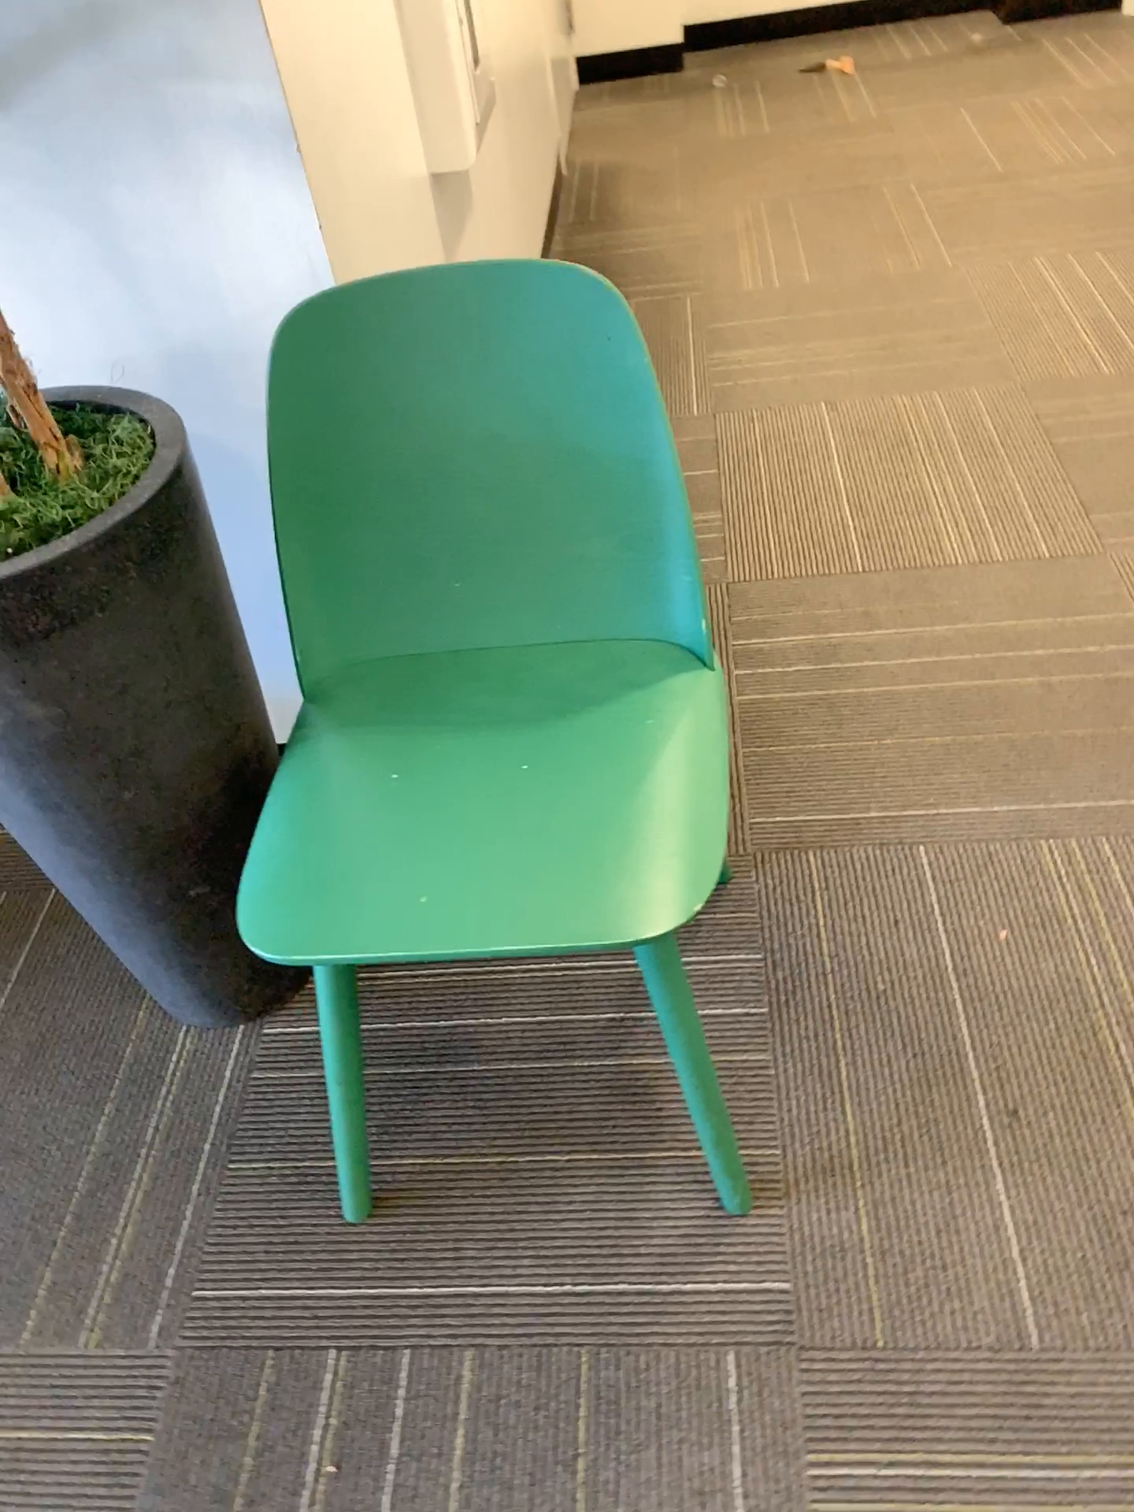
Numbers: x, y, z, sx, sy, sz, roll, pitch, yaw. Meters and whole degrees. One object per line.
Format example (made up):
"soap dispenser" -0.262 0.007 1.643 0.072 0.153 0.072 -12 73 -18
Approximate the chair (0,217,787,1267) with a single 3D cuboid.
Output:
"chair" -0.077 0.017 1.090 0.500 0.745 0.603 -4 43 8
